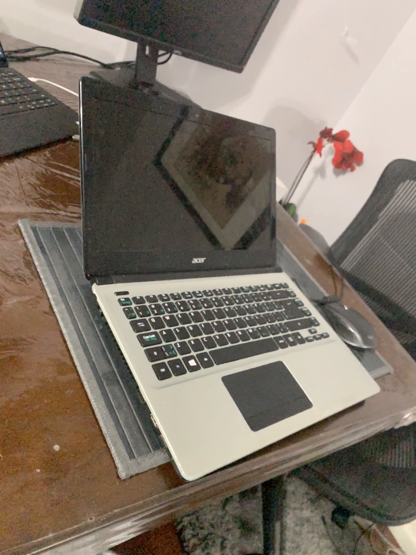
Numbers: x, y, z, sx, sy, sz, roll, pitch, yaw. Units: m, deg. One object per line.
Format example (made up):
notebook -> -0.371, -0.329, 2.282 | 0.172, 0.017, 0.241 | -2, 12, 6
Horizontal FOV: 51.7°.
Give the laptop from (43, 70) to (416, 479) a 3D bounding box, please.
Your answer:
laptop -> 0.044, -0.036, 0.512 | 0.331, 0.146, 0.386 | -3, 48, -43
